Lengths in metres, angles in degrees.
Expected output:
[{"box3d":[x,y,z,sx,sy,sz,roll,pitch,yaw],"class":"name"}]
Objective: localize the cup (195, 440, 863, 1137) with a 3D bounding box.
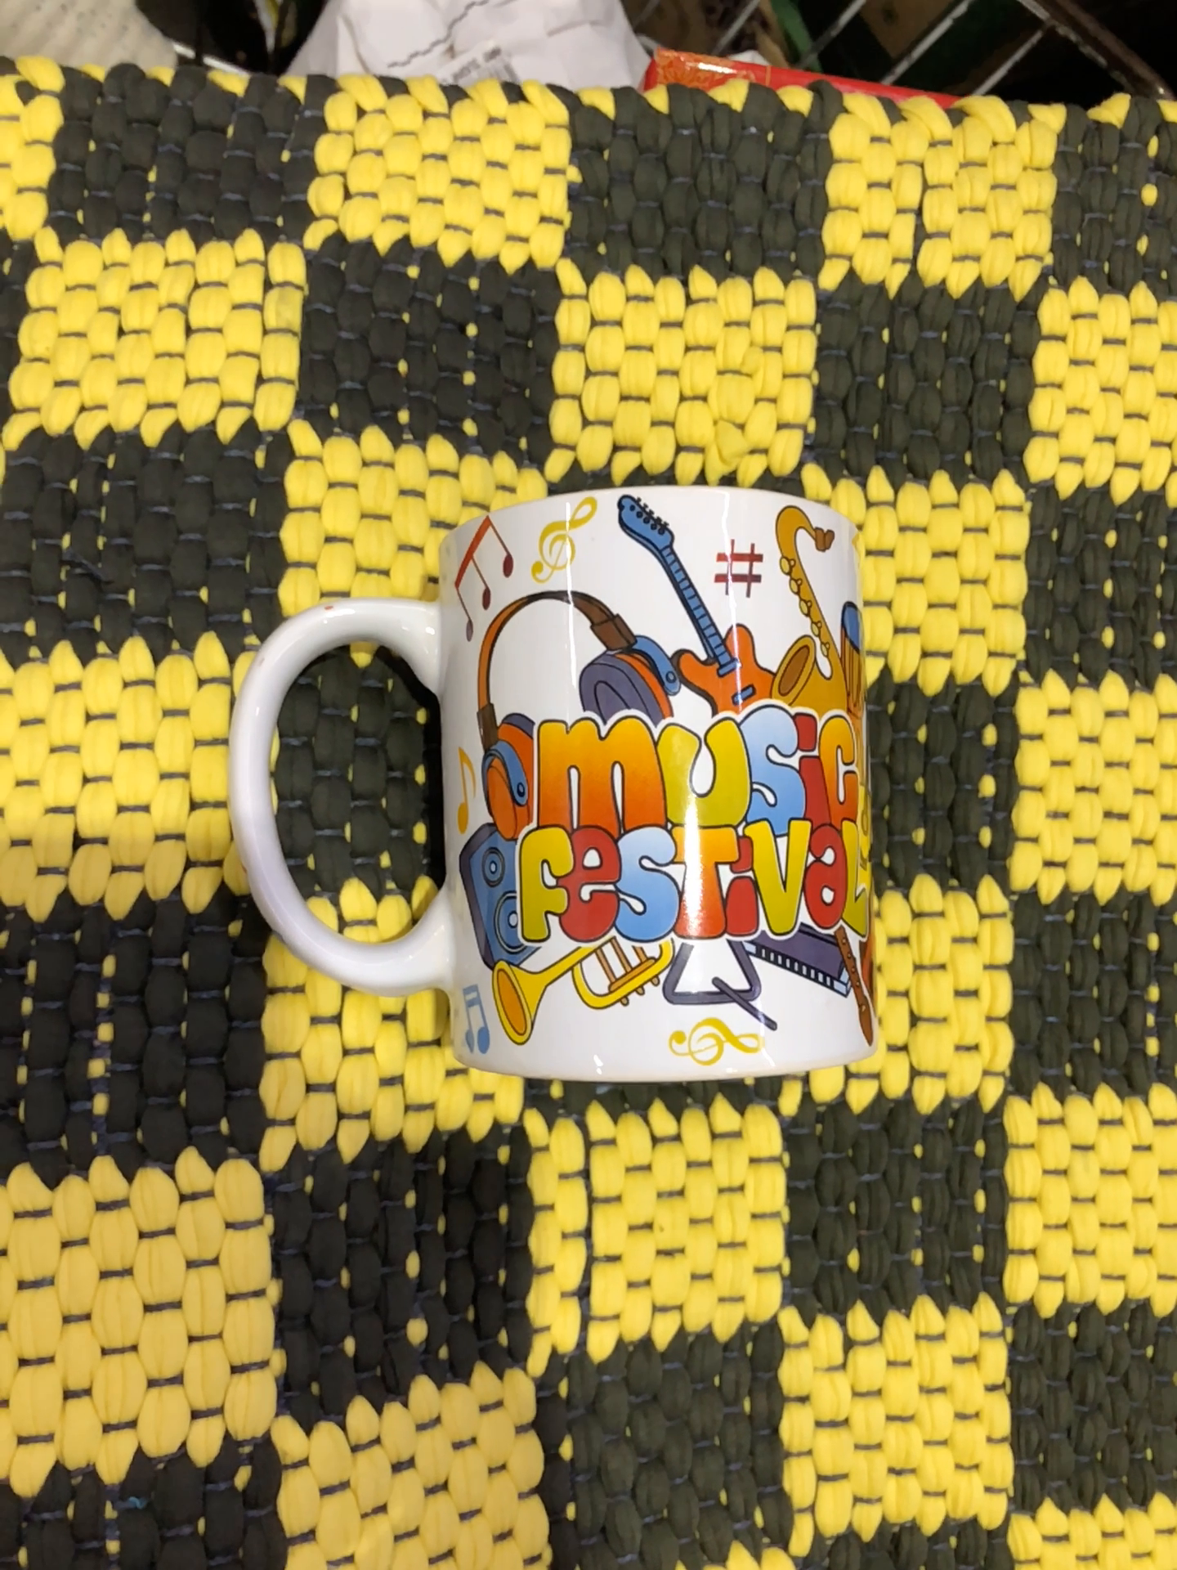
[{"box3d":[-0.006,0.005,0.231,0.100,0.070,0.100,-1,84,10],"class":"cup"}]
